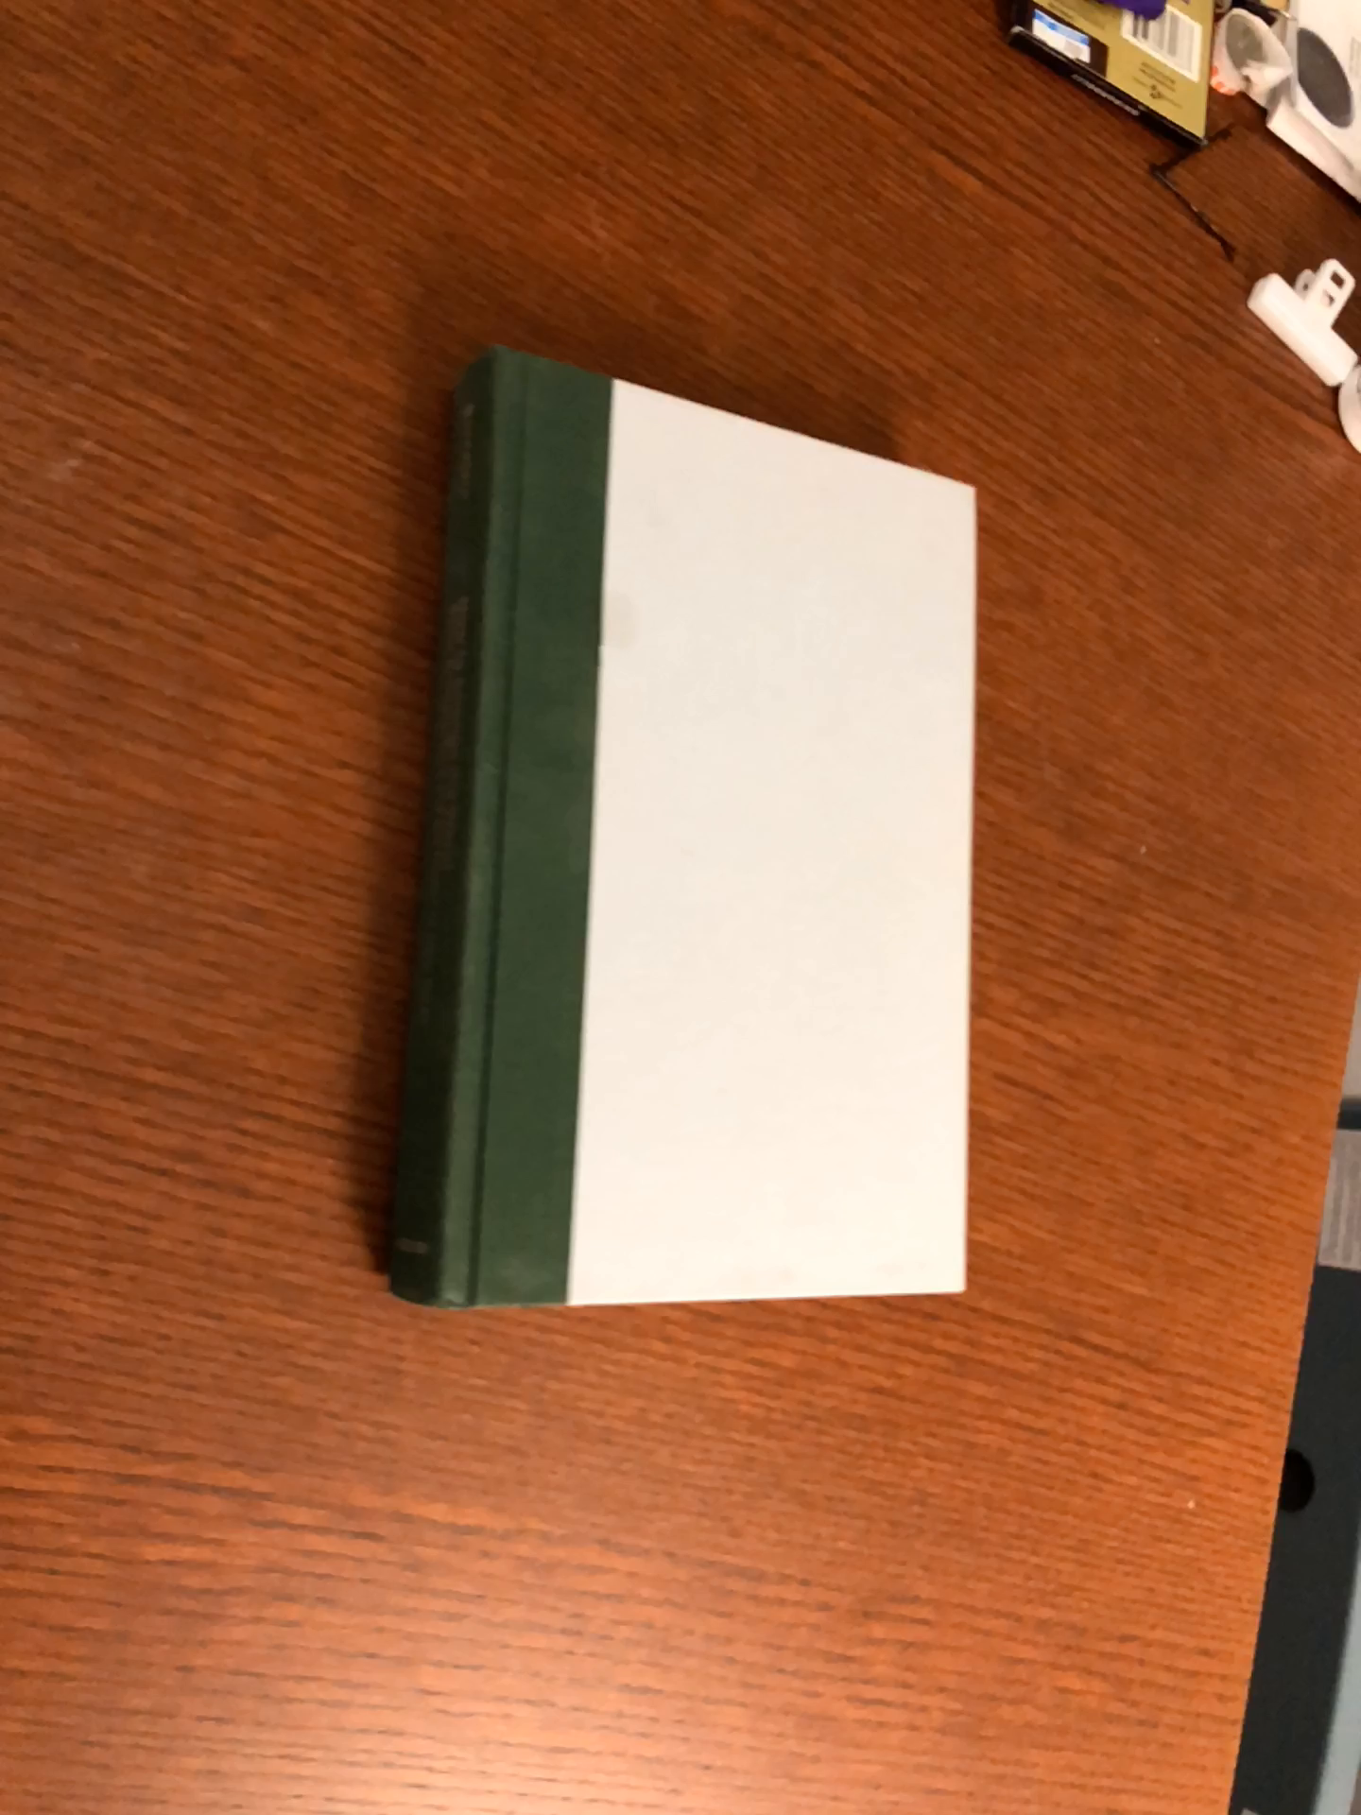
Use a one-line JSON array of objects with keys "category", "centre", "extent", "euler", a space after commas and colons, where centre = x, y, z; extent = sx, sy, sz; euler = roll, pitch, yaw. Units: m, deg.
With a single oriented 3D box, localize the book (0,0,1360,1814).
[{"category": "book", "centre": [0.198, 0.233, 0.063], "extent": [1.003, 0.998, 1.000], "euler": [-14, 92, -30]}]
